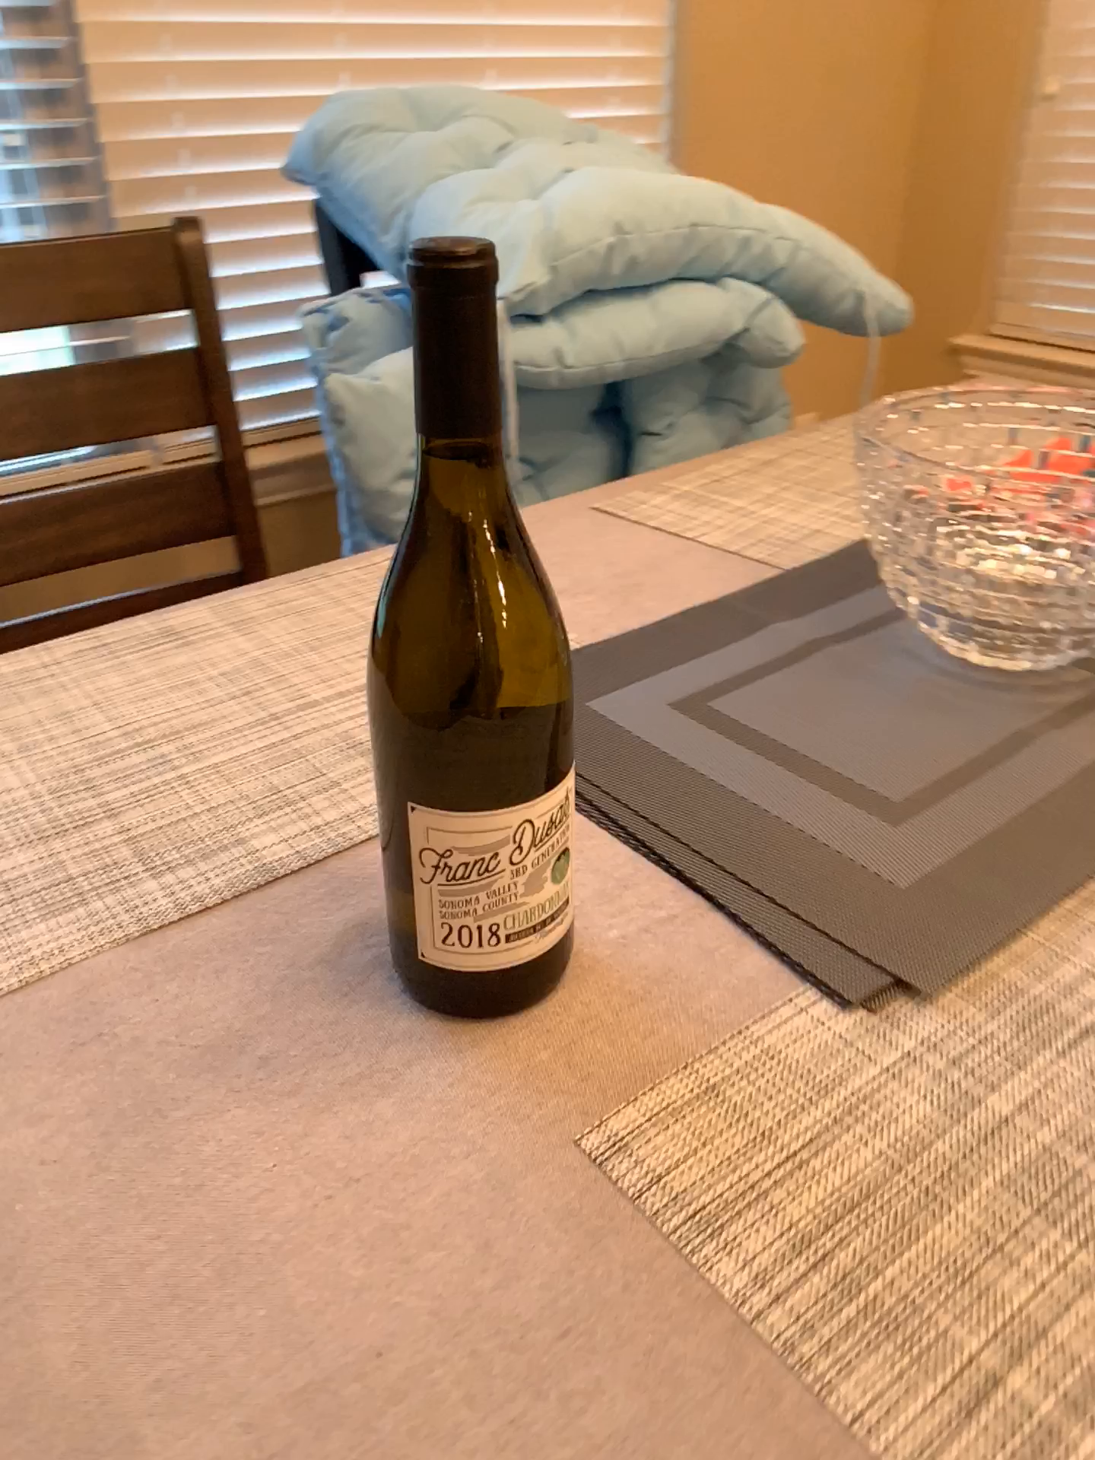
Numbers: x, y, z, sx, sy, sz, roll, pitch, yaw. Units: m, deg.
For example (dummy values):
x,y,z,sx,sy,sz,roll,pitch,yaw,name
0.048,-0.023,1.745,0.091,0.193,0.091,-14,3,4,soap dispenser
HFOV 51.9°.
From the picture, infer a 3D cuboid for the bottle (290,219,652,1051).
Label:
x,y,z,sx,sy,sz,roll,pitch,yaw,name
-0.025,-0.026,0.418,0.090,0.288,0.080,-12,32,-19,bottle
